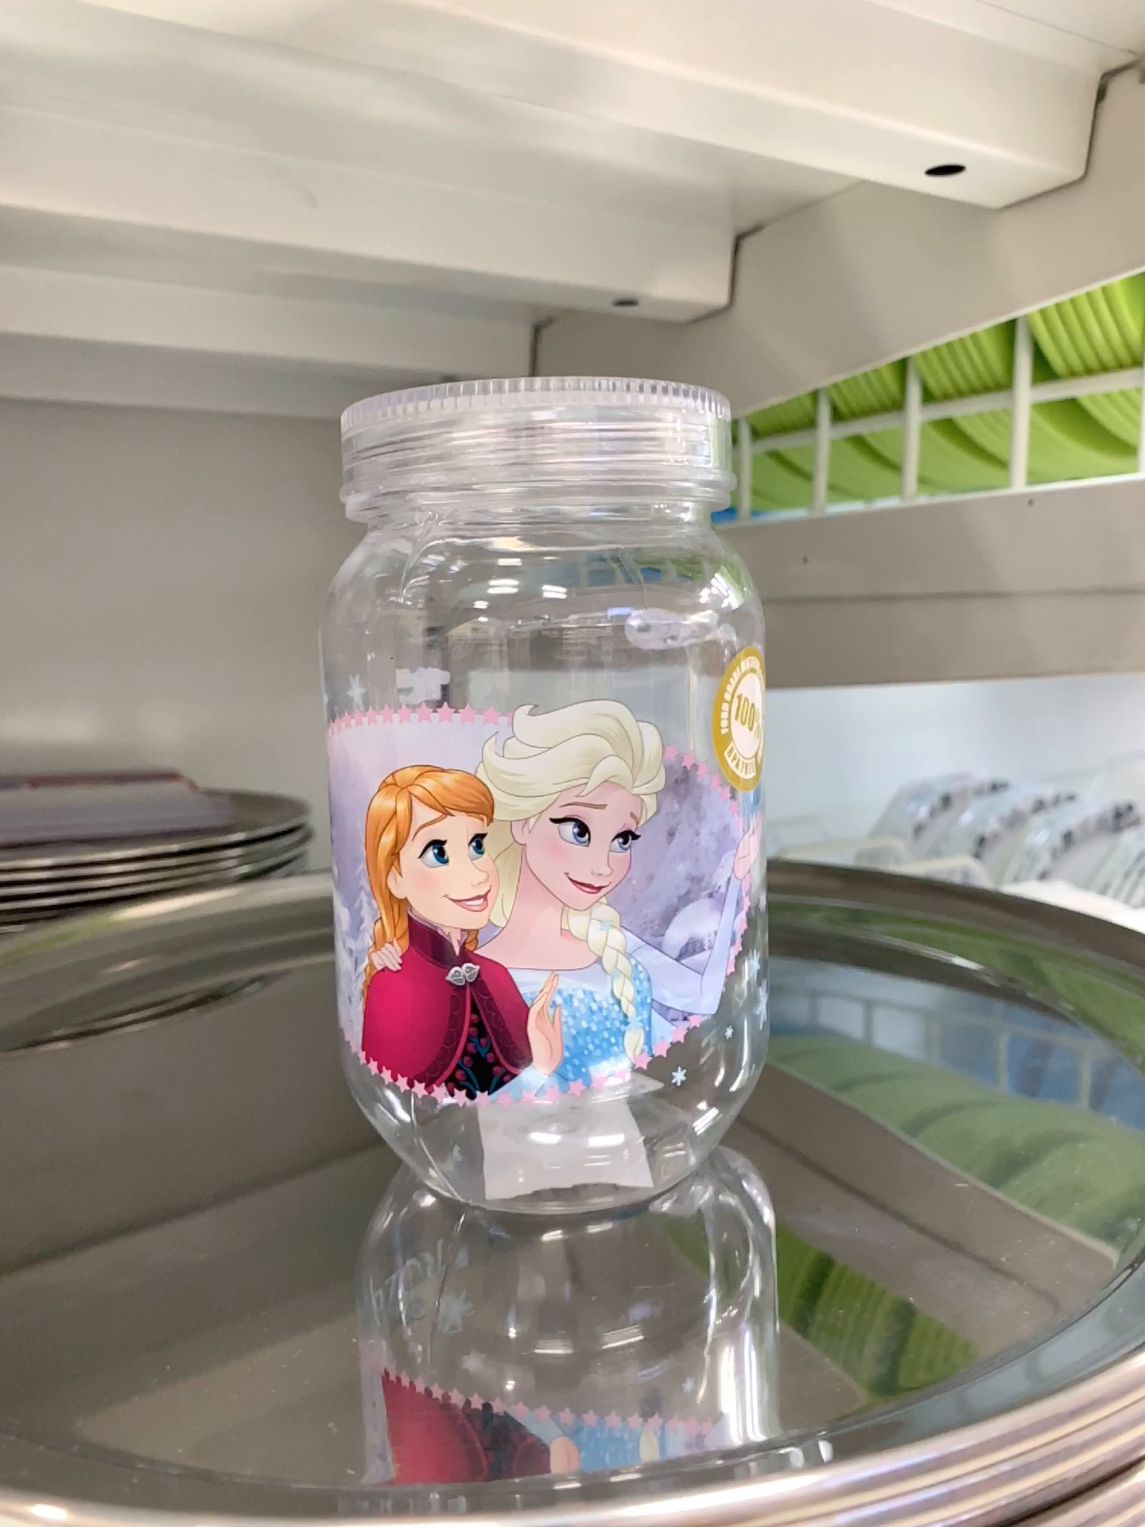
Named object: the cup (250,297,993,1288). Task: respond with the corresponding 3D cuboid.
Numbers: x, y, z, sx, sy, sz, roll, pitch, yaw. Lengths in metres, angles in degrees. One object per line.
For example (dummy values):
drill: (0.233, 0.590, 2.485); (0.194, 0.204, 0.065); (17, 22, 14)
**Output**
cup: (0.015, -0.002, 0.223); (0.120, 0.130, 0.070); (-7, 8, -44)
